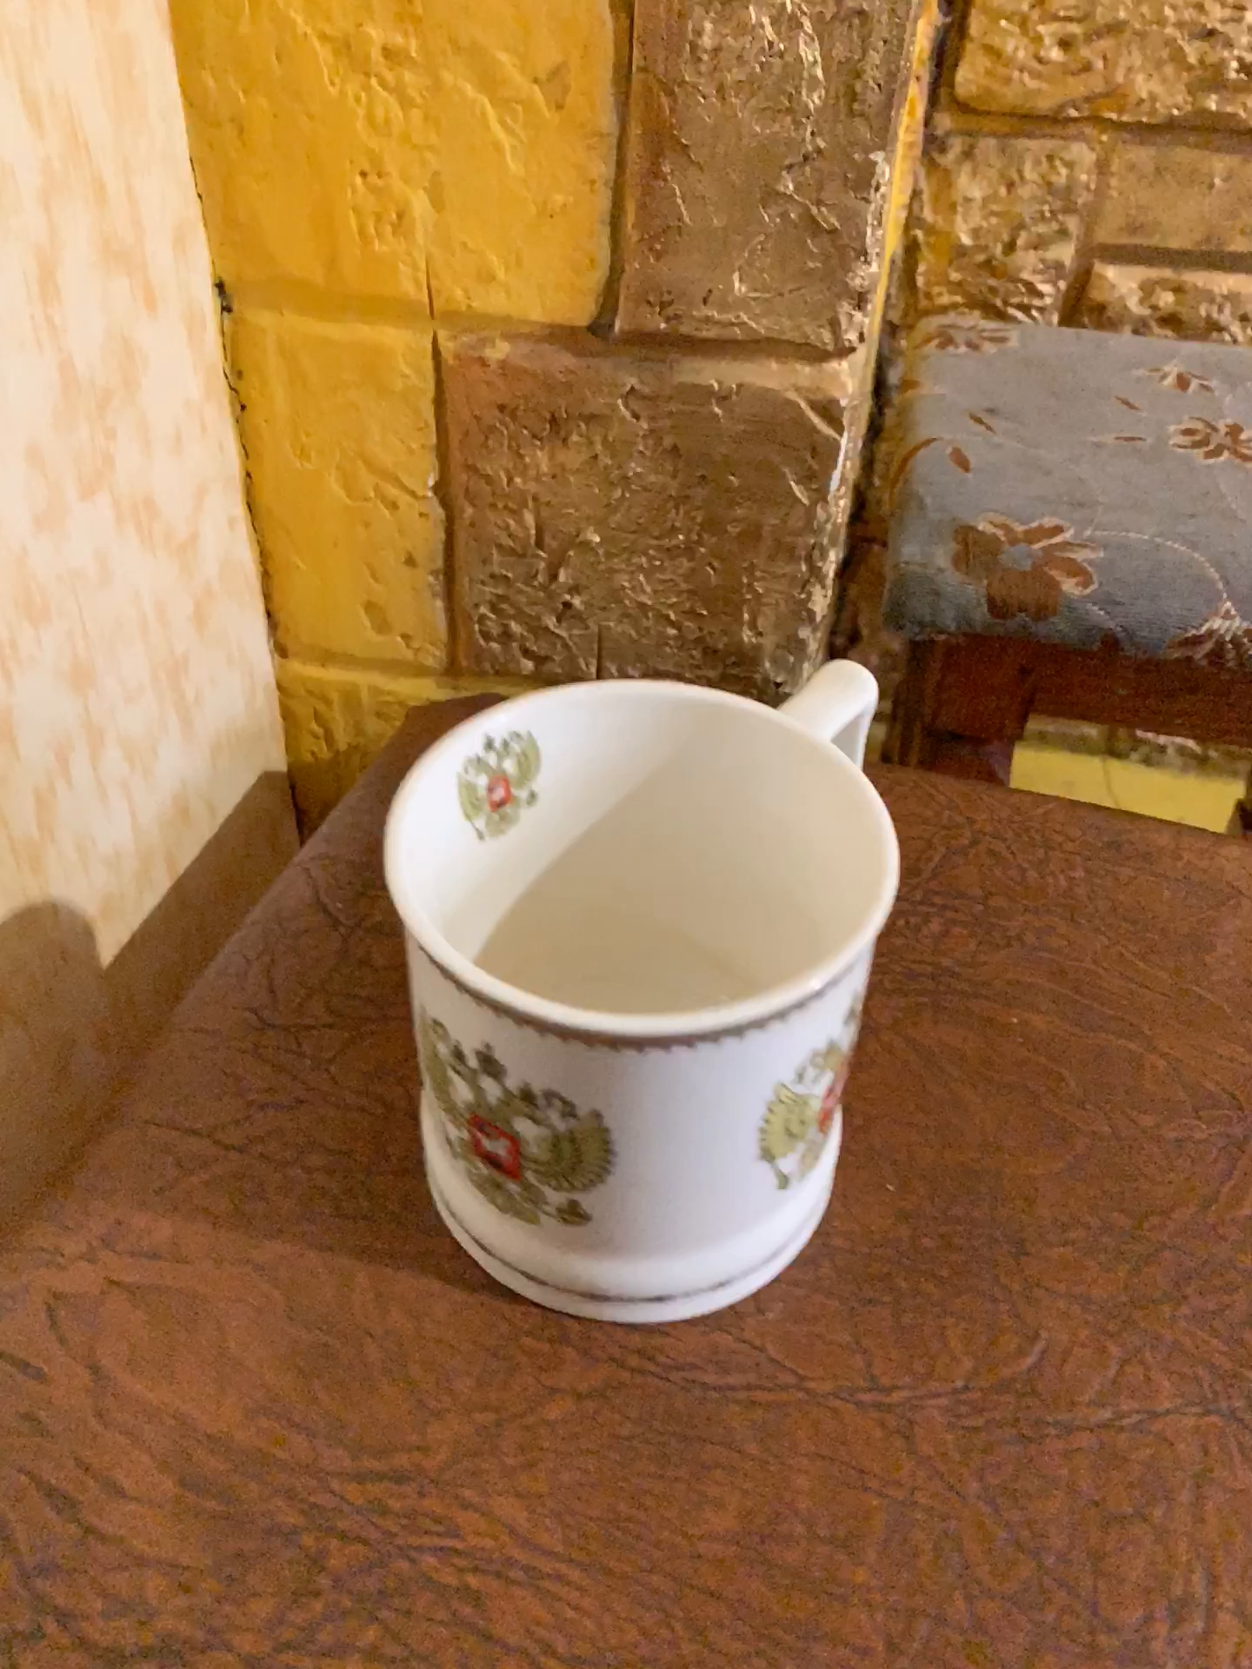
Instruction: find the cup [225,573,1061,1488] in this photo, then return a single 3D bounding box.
[{"bbox_3d":[0.008,0.029,0.265,0.100,0.097,0.127,24,43,24],"label":"cup"}]
